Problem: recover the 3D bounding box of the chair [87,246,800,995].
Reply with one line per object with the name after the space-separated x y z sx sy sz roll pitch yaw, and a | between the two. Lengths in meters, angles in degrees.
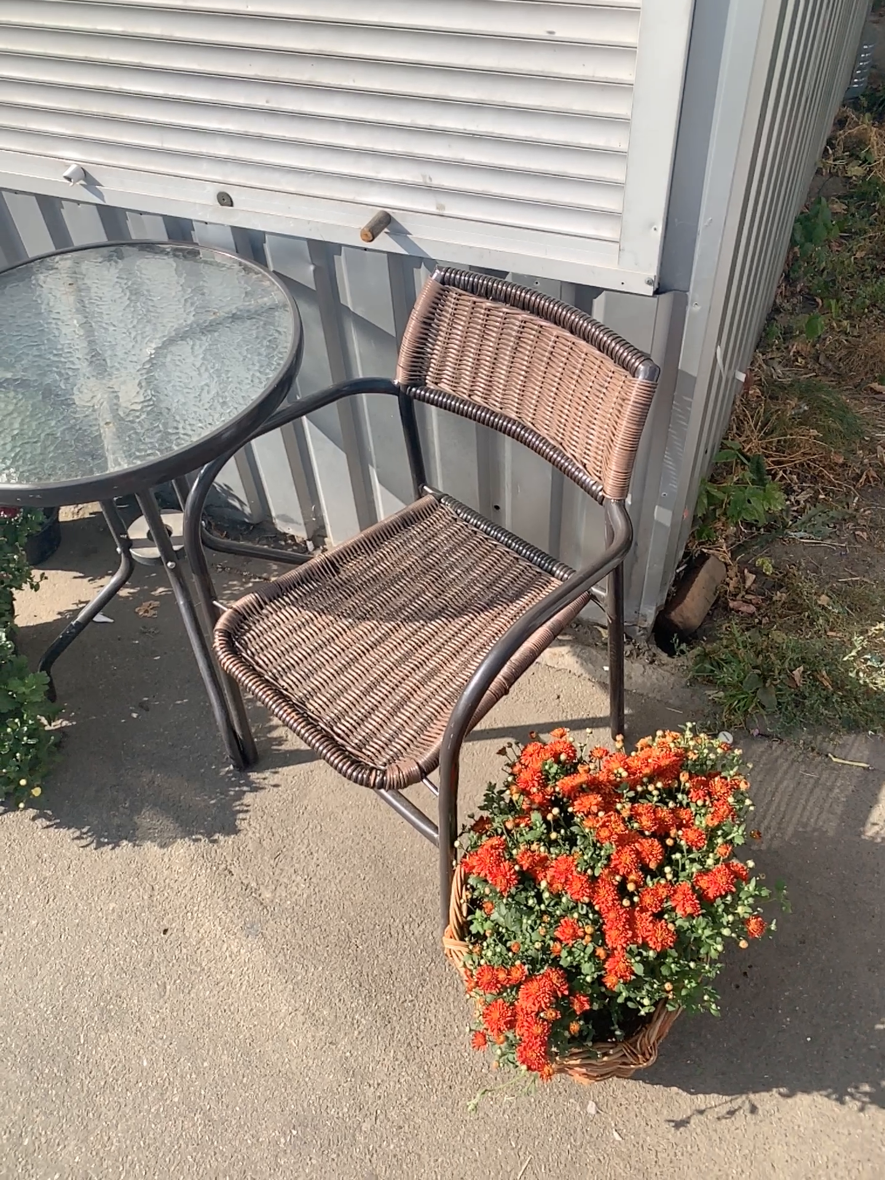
0.031 0.034 1.383 0.572 0.717 0.691 32 58 28 | chair
